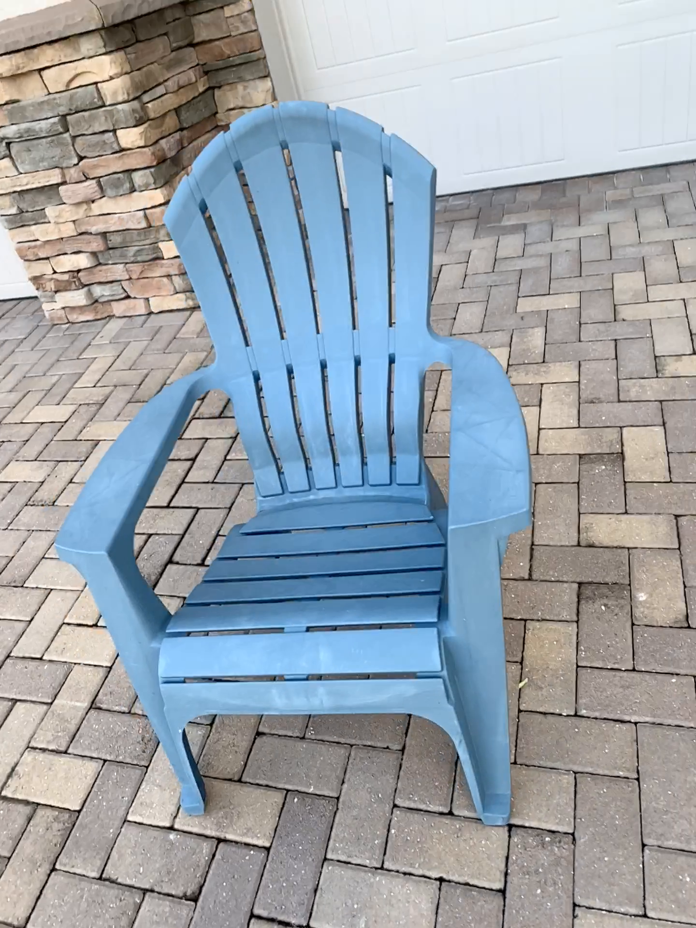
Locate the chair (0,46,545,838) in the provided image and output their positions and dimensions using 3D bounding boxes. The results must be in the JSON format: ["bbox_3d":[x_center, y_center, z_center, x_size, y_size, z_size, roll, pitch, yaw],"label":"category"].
[{"bbox_3d":[-0.074,-0.027,1.223,0.682,0.985,0.800,-5,36,14],"label":"chair"}]
